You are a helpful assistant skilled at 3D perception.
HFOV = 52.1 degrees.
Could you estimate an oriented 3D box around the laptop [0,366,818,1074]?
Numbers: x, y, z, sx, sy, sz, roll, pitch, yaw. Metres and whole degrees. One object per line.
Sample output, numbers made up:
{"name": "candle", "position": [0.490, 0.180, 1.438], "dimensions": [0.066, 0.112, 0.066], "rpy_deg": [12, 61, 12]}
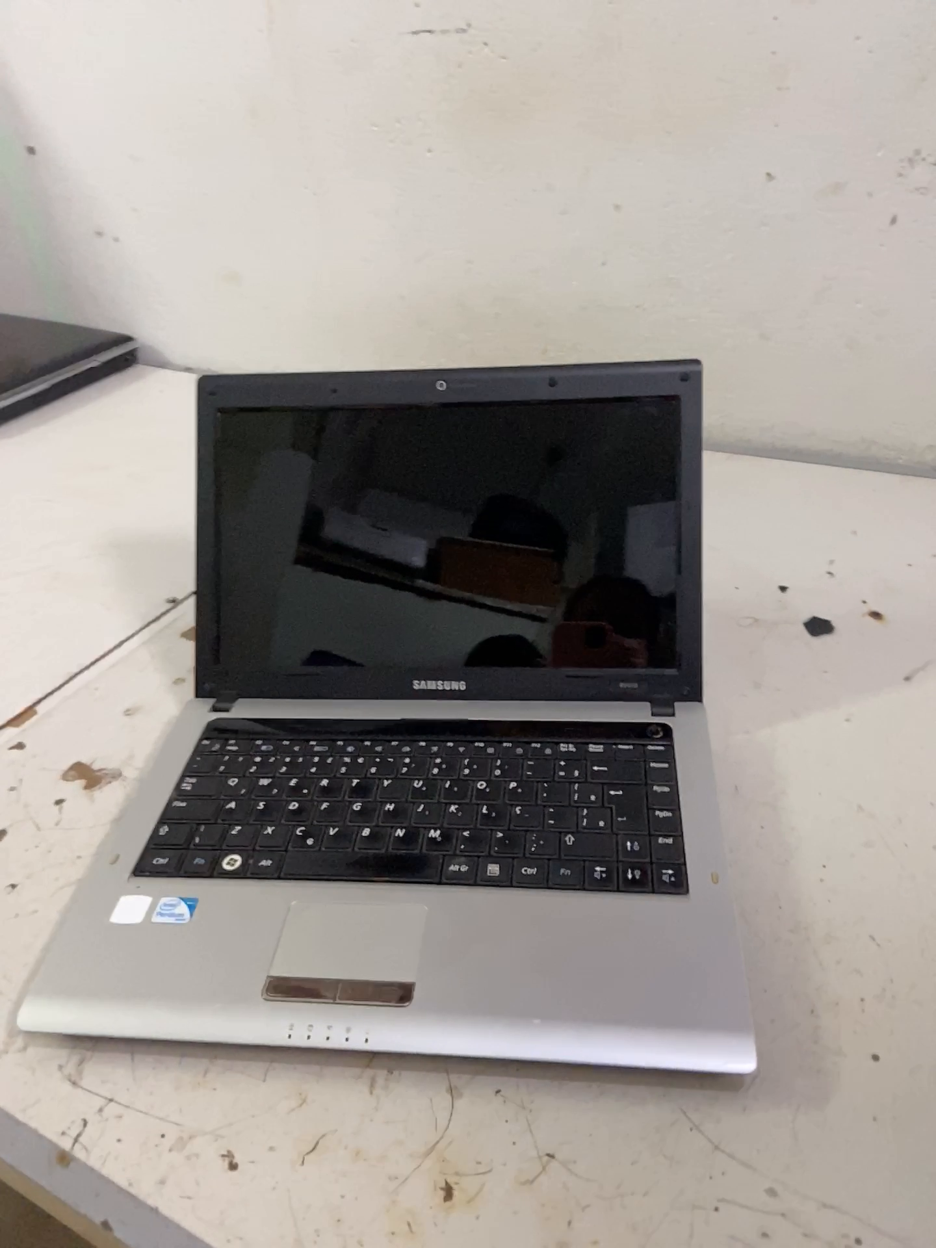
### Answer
{"name": "laptop", "position": [-0.029, 0.012, 0.518], "dimensions": [0.334, 0.172, 0.364], "rpy_deg": [0, 34, 8]}
